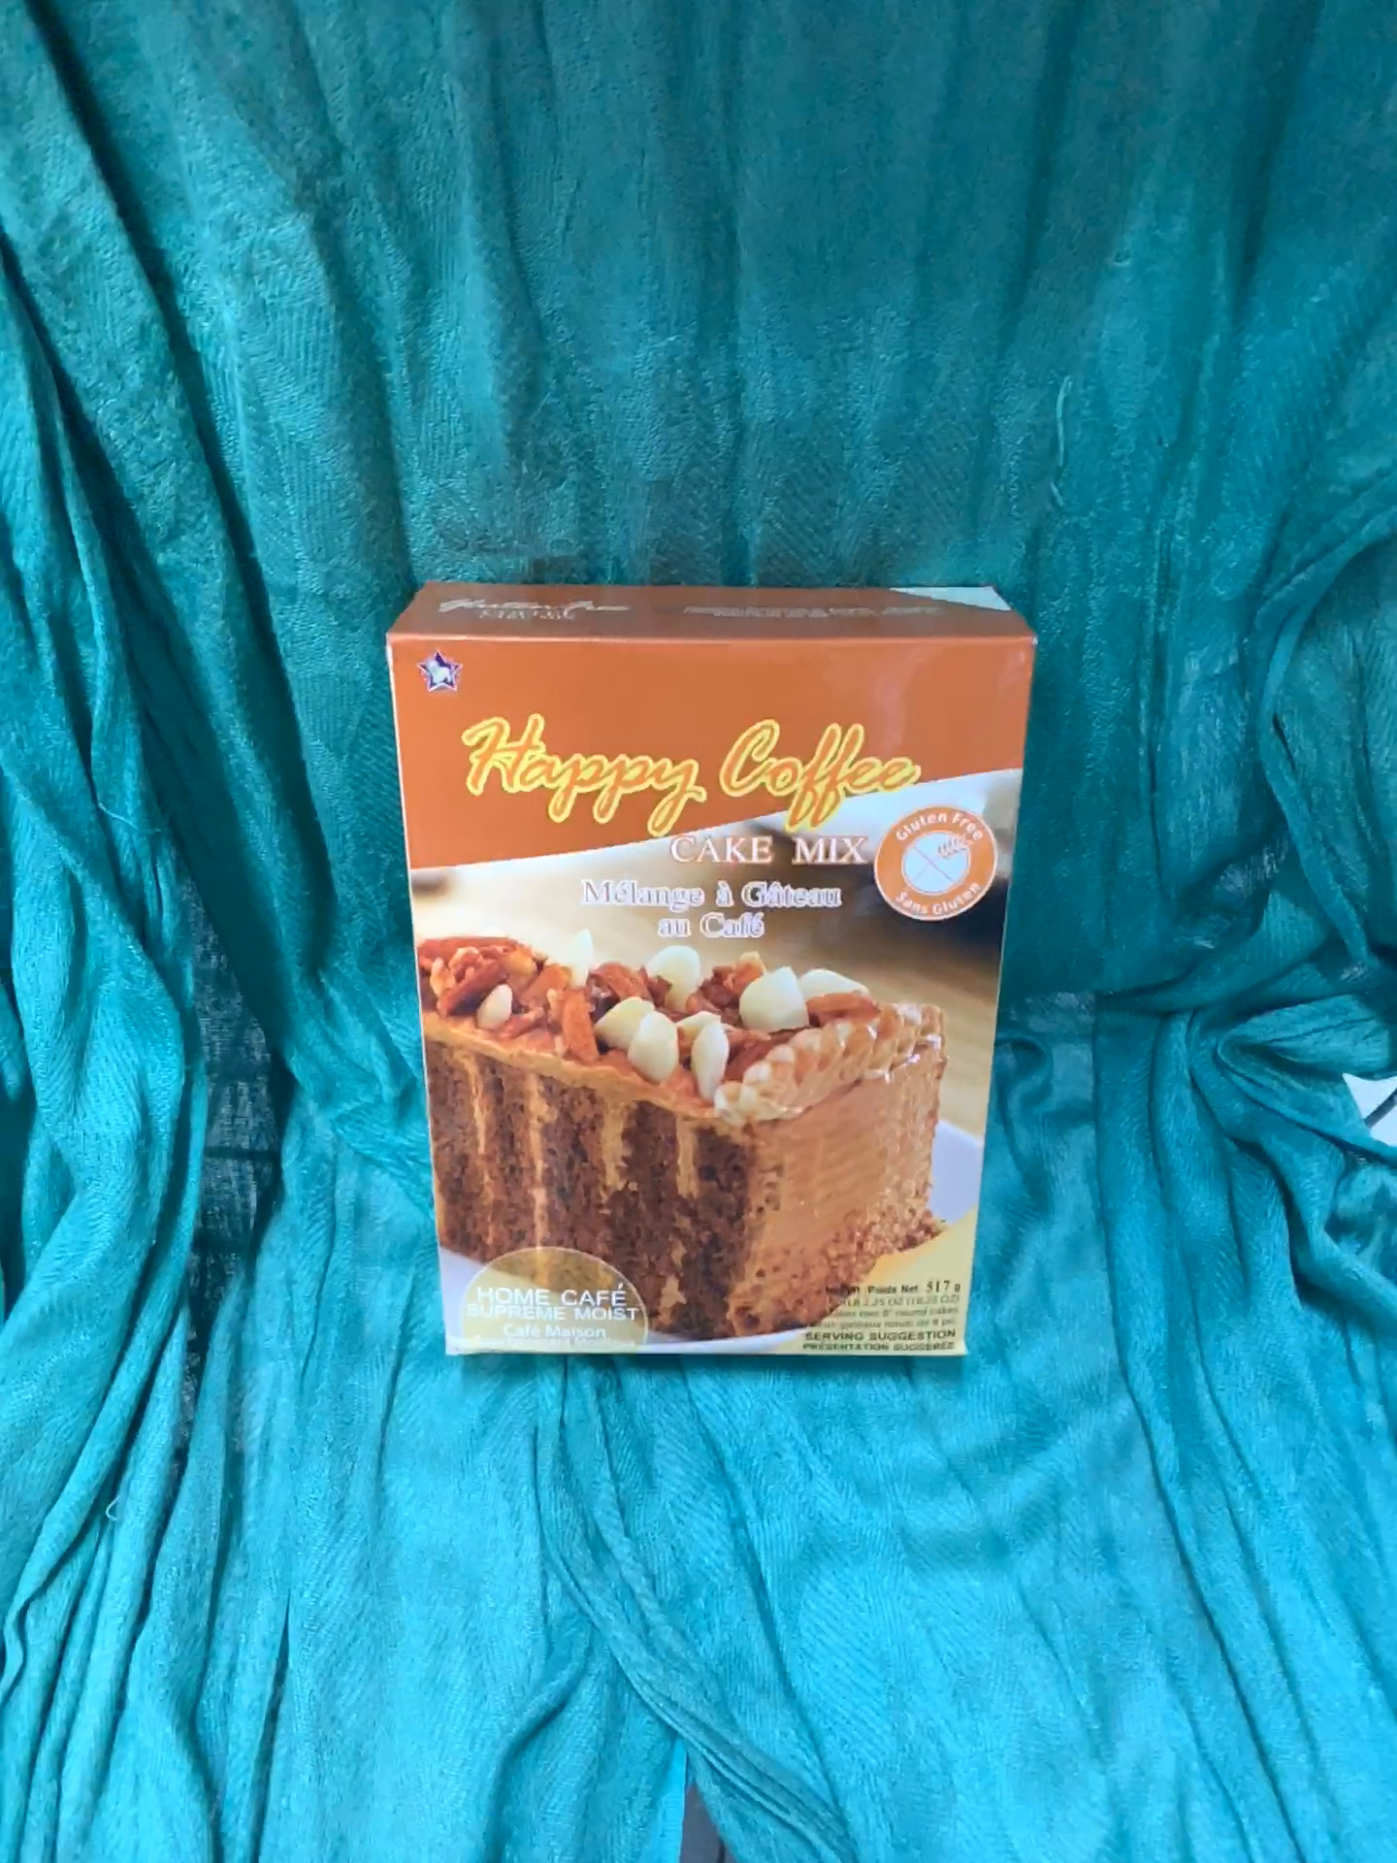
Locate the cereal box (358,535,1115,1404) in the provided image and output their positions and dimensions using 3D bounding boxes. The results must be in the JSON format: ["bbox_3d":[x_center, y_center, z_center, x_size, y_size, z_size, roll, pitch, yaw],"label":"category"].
[{"bbox_3d":[0.006,0.016,0.351,0.150,0.209,0.050,1,24,-1],"label":"cereal box"}]
